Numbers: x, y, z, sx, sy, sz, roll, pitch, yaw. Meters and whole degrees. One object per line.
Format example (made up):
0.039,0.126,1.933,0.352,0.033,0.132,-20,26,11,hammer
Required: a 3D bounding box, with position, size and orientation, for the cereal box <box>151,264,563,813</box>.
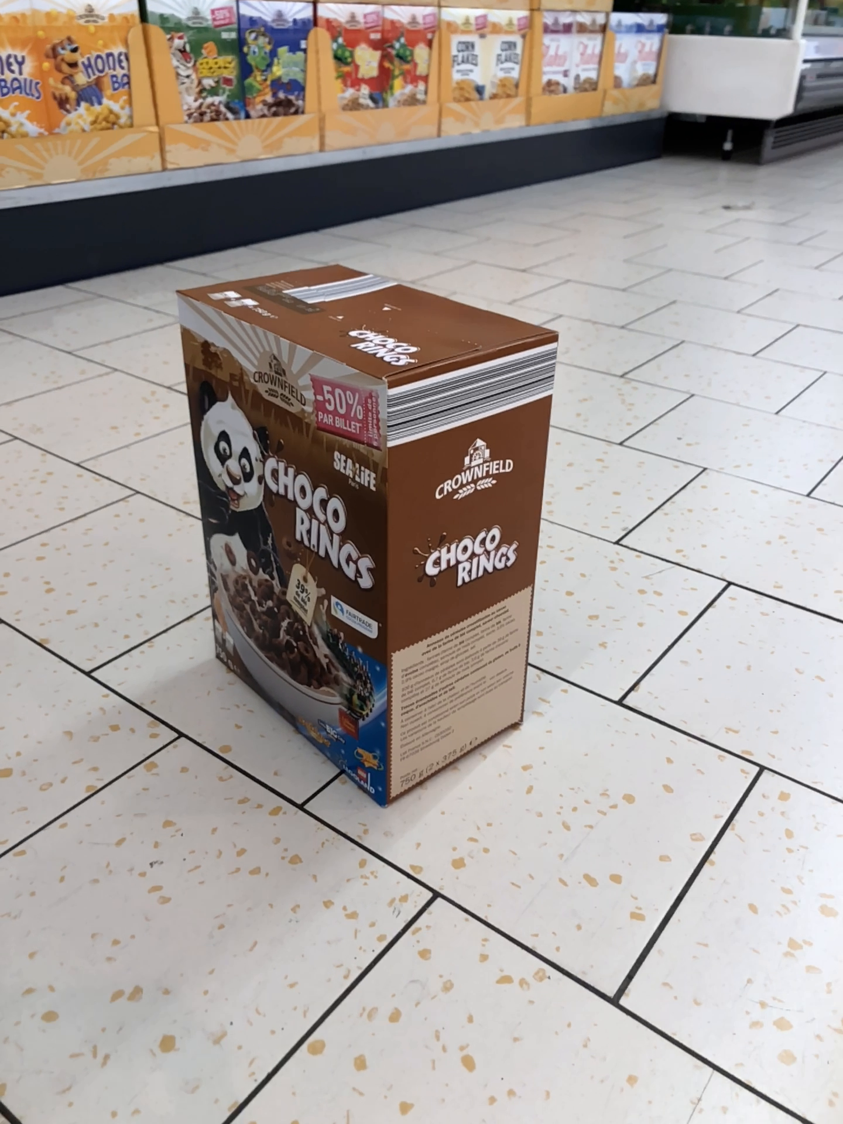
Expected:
-0.045,-0.027,0.563,0.131,0.248,0.200,-21,36,-34,cereal box
